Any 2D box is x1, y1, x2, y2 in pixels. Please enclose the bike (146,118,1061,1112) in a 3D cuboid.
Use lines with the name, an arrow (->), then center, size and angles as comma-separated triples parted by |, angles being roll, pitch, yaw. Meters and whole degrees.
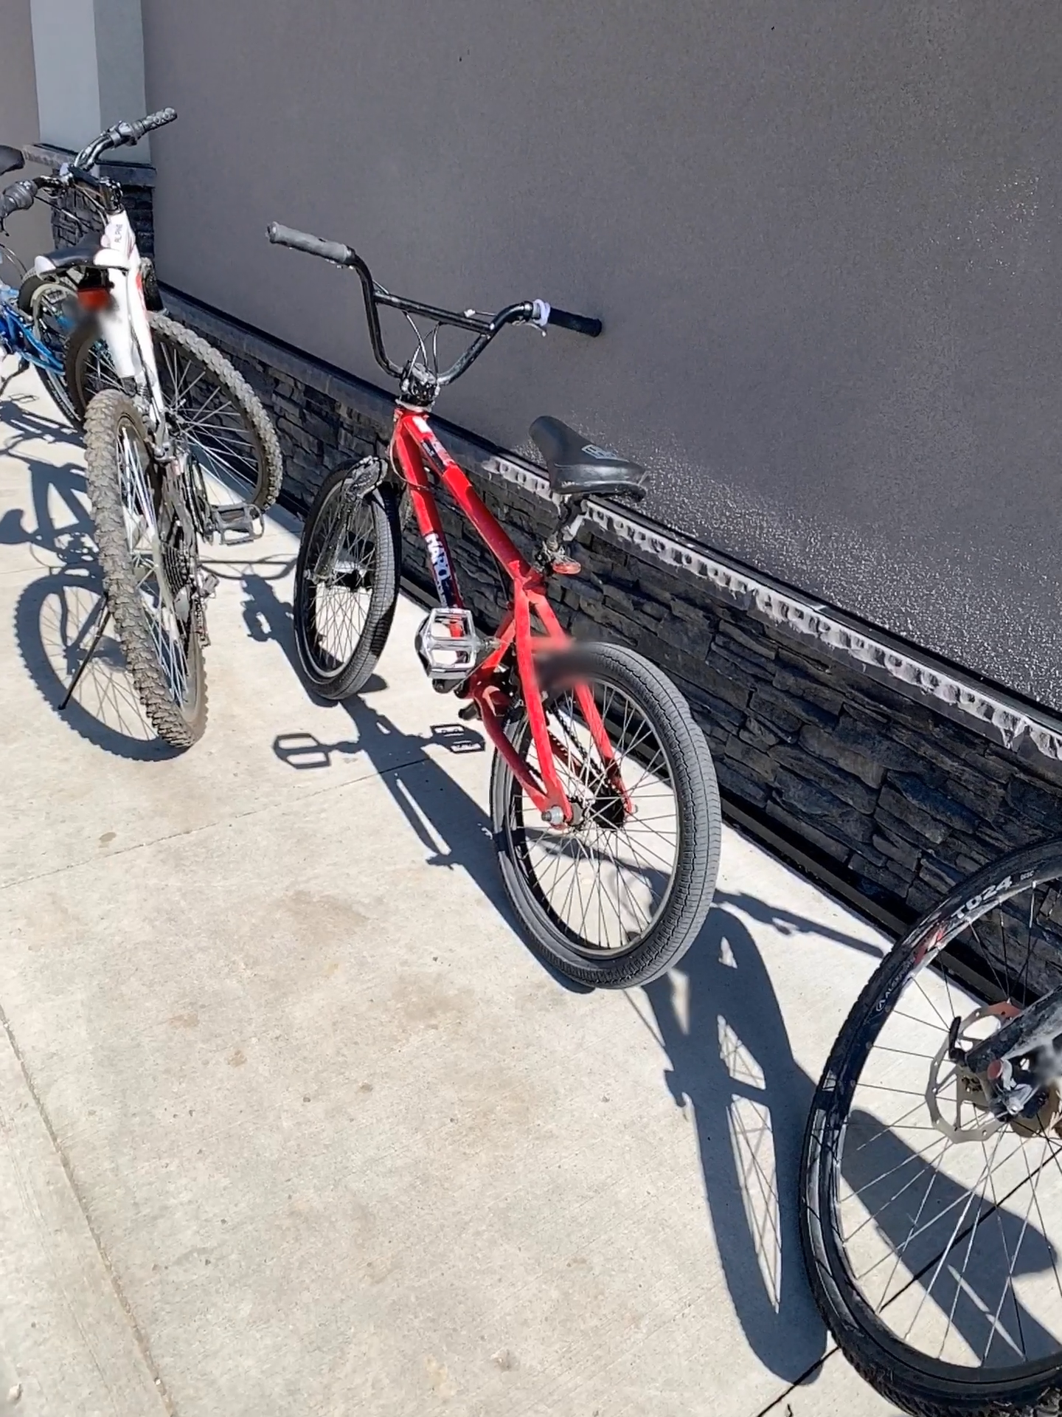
bike -> -0.049, -0.310, 1.803 | 0.774, 0.908, 1.318 | -10, 36, -31
